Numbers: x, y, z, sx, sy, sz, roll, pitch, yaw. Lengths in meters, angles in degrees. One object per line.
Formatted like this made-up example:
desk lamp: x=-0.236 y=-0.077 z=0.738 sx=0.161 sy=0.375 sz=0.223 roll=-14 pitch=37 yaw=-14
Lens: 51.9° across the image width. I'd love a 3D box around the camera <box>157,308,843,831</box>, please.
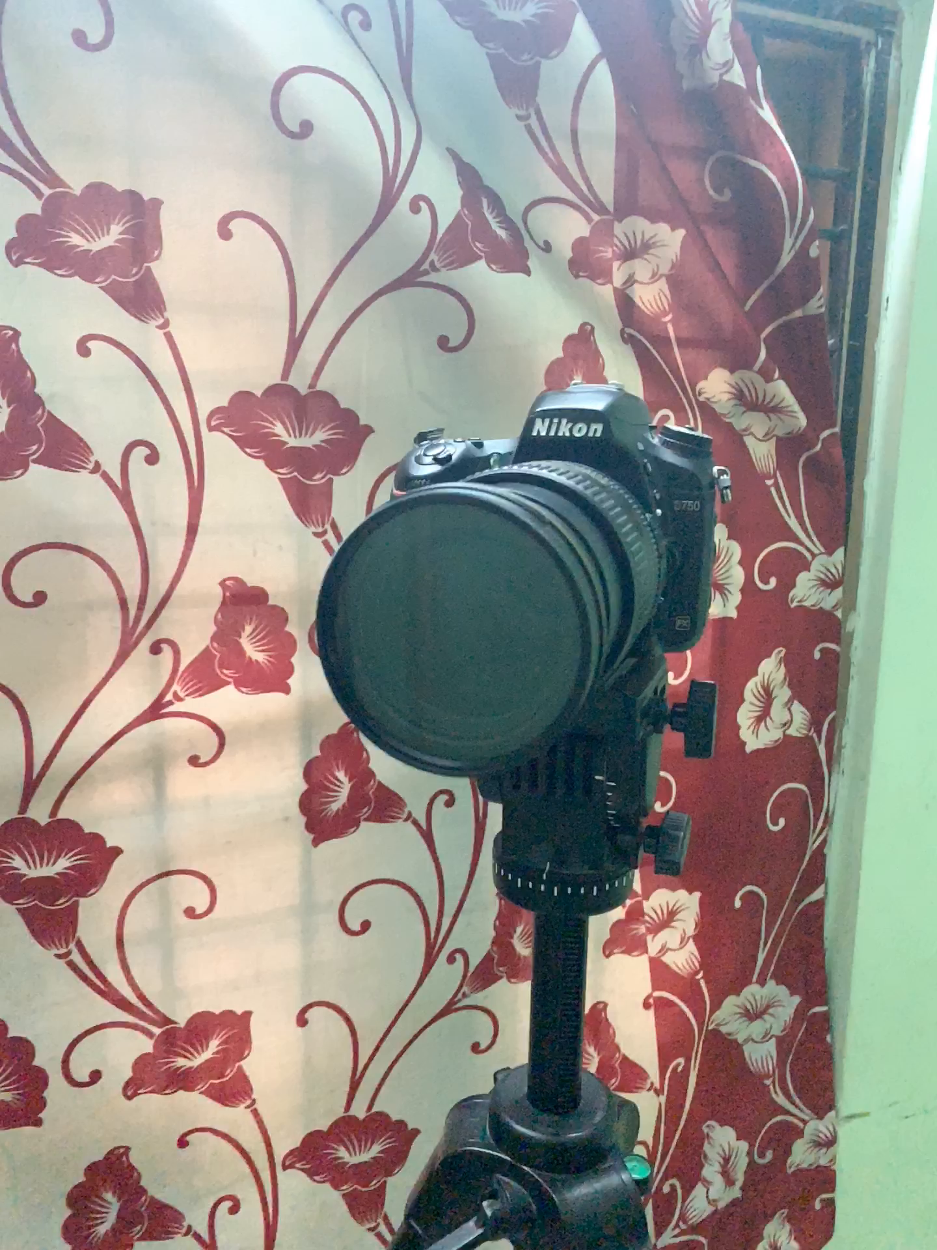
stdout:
camera: x=0.021 y=-0.030 z=0.326 sx=0.172 sy=0.122 sz=0.170 roll=4 pitch=10 yaw=14
